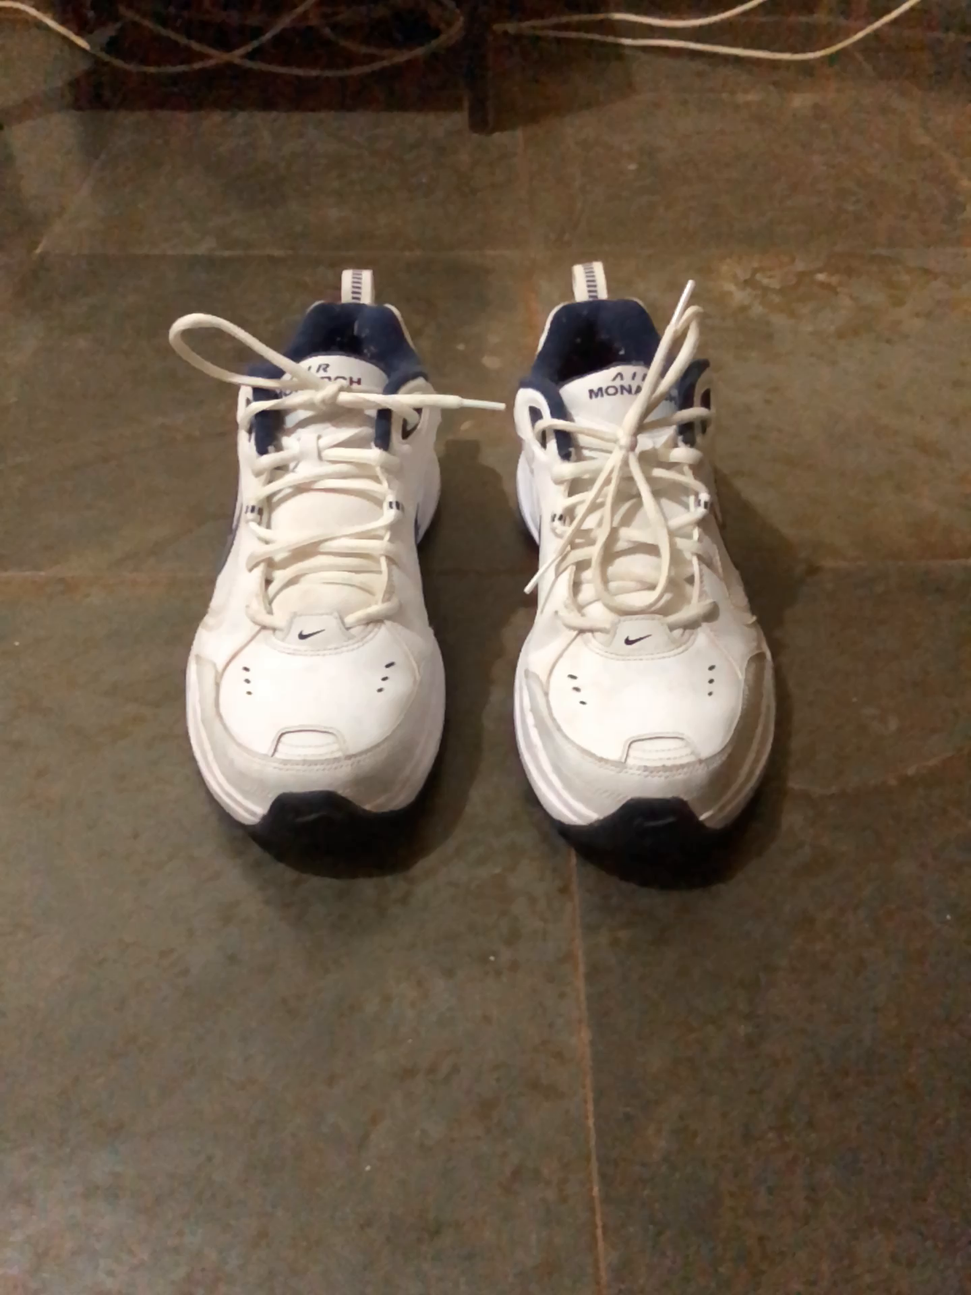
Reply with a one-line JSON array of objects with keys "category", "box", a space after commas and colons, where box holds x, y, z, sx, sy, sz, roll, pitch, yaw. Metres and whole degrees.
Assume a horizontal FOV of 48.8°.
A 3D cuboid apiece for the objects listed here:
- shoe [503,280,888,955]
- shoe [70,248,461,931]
[{"category": "shoe", "box": [0.070, -0.031, 0.502, 0.120, 0.149, 0.302, 1, 45, 0]}, {"category": "shoe", "box": [-0.074, -0.045, 0.493, 0.120, 0.149, 0.302, -1, 45, -2]}]
